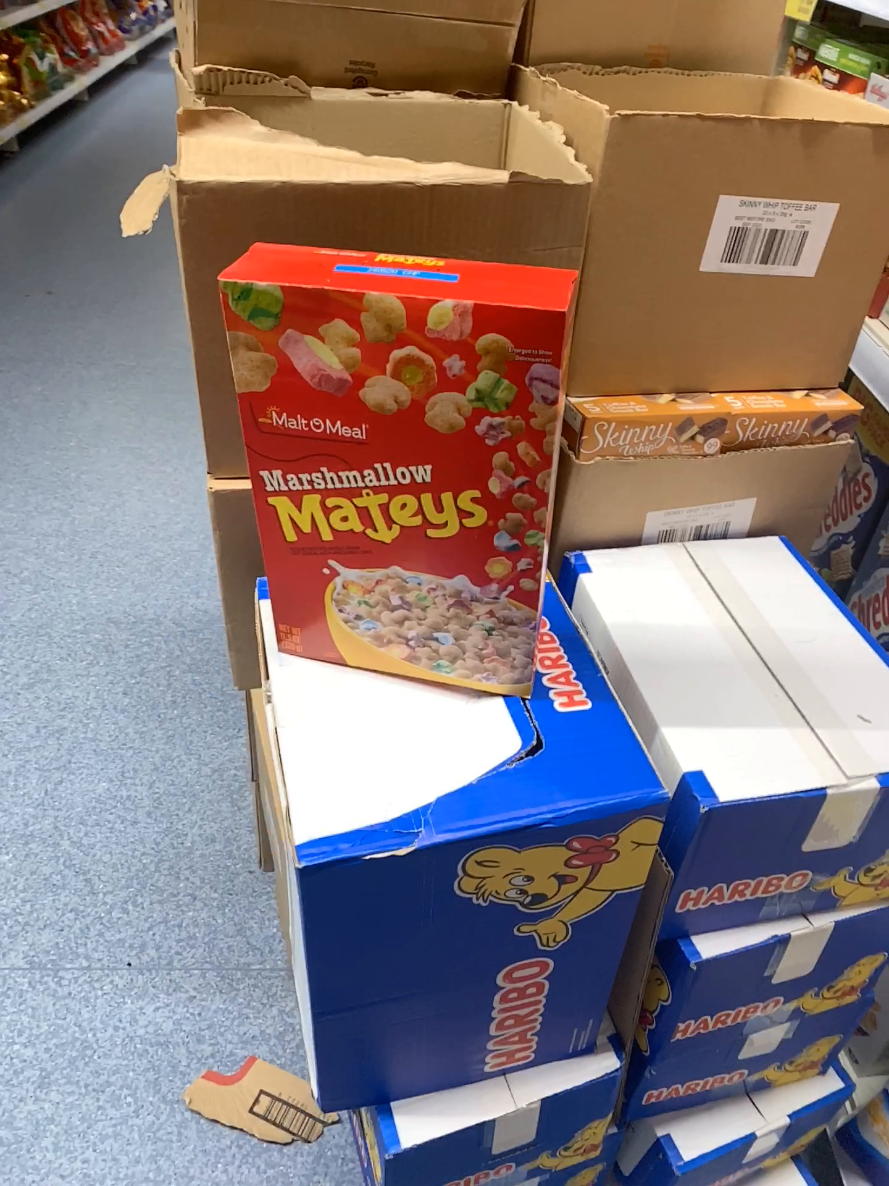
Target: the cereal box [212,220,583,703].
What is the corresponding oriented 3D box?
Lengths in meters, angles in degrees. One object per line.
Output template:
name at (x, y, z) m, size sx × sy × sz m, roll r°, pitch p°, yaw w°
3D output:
cereal box at (-0.024, -0.073, 0.584) m, size 0.190 × 0.287 × 0.071 m, roll 9°, pitch 40°, yaw 12°
